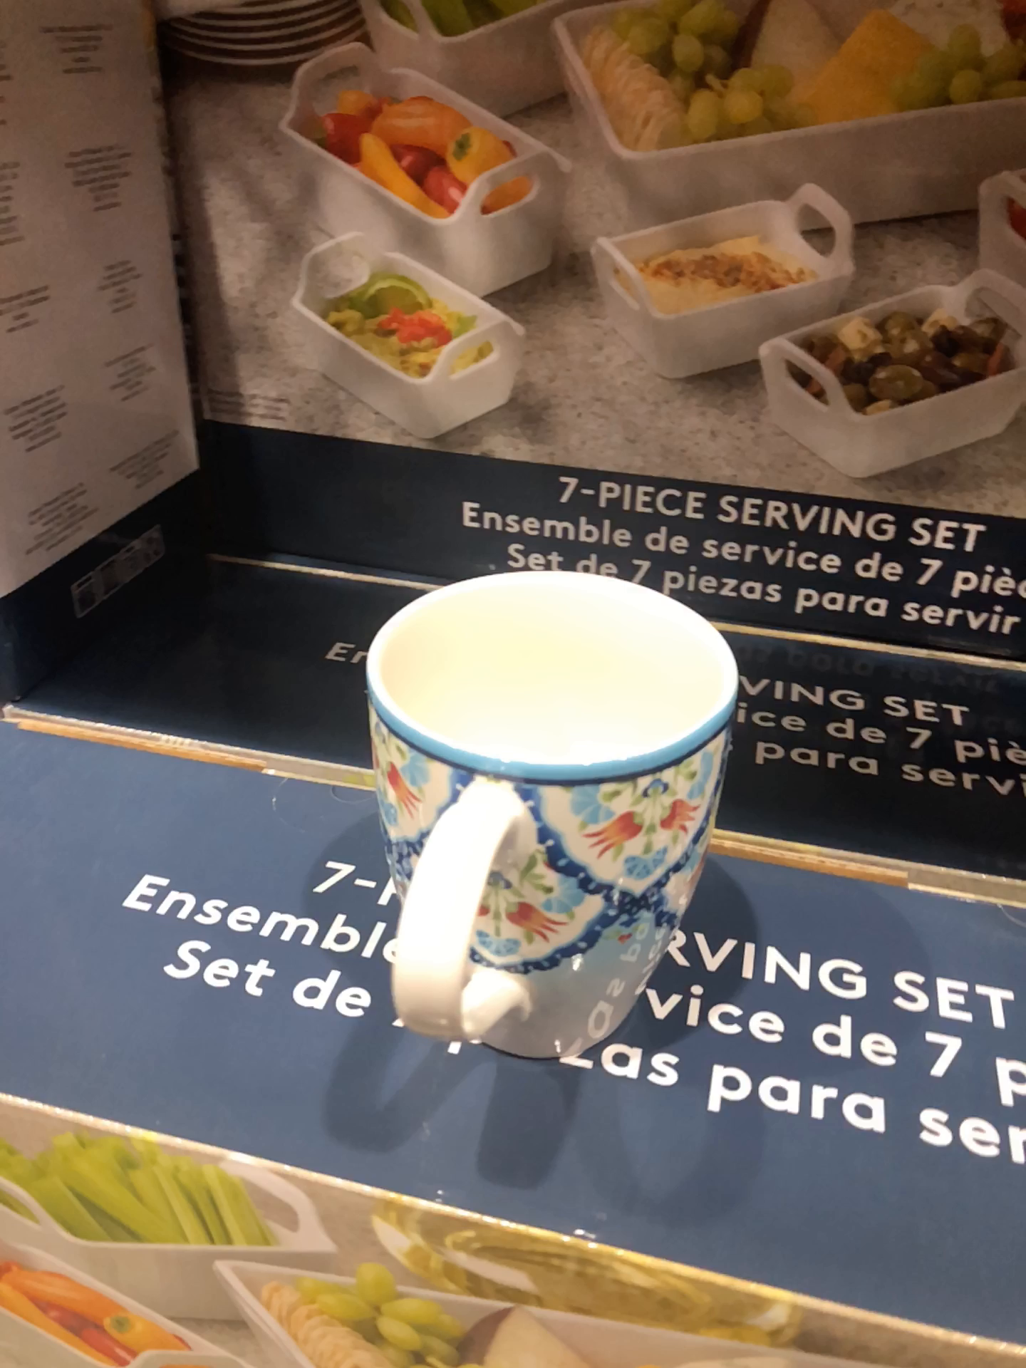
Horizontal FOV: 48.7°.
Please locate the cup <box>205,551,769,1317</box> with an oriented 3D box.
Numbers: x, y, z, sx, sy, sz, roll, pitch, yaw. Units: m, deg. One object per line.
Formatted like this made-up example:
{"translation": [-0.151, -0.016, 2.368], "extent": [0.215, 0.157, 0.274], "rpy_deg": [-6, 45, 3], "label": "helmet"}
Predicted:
{"translation": [0.005, 0.045, 0.268], "extent": [0.089, 0.096, 0.137], "rpy_deg": [8, 31, 11], "label": "cup"}
